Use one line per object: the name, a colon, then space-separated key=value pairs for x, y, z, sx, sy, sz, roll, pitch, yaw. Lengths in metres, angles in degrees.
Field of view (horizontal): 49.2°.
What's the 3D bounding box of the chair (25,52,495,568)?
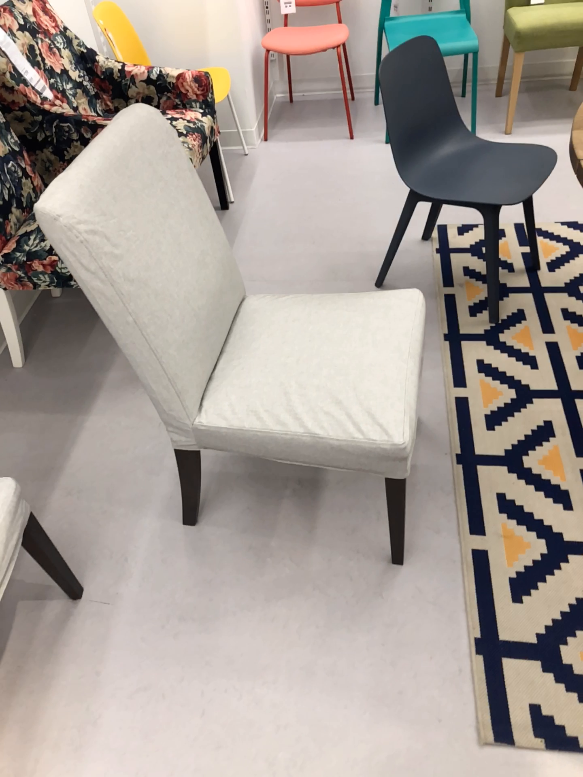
chair: x=0.028 y=-0.134 z=1.332 sx=0.641 sy=0.854 sz=0.563 roll=3 pitch=45 yaw=12
